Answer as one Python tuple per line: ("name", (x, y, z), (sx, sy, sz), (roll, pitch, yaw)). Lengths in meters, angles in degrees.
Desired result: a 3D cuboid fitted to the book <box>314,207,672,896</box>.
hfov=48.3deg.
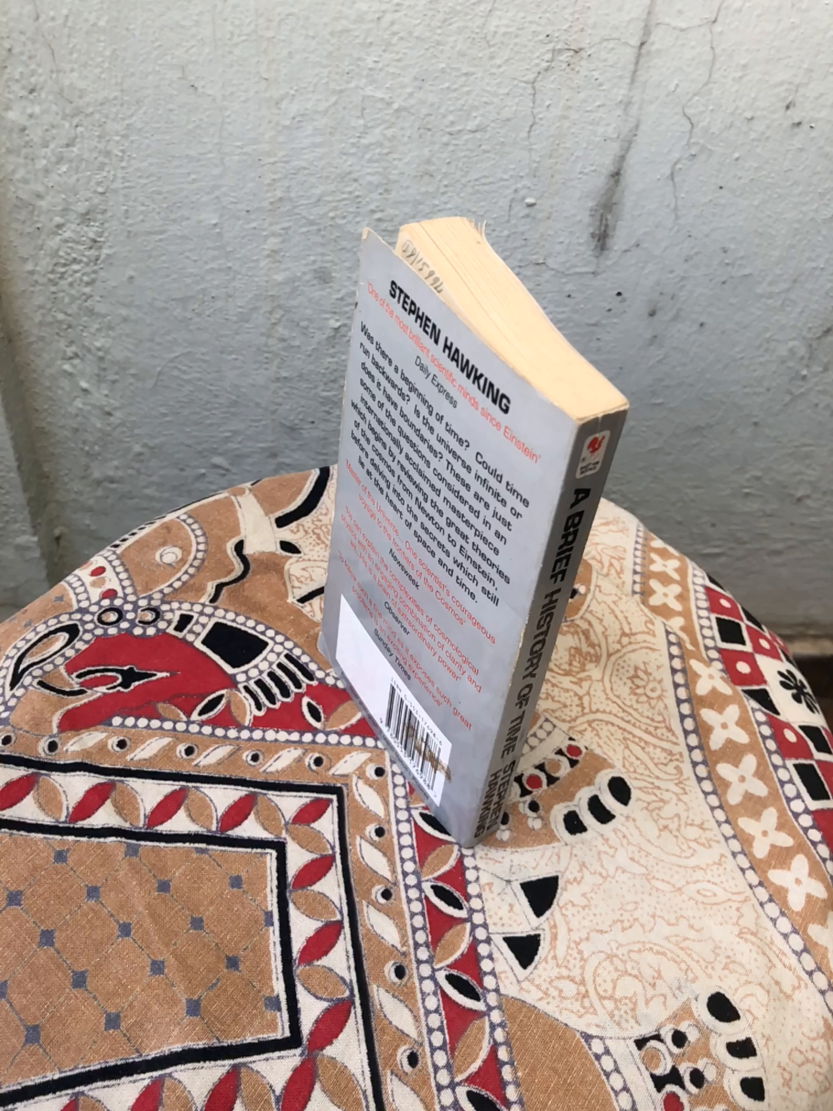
("book", (0.006, 0.001, 0.291), (0.030, 0.169, 0.130), (-11, 44, -21))
